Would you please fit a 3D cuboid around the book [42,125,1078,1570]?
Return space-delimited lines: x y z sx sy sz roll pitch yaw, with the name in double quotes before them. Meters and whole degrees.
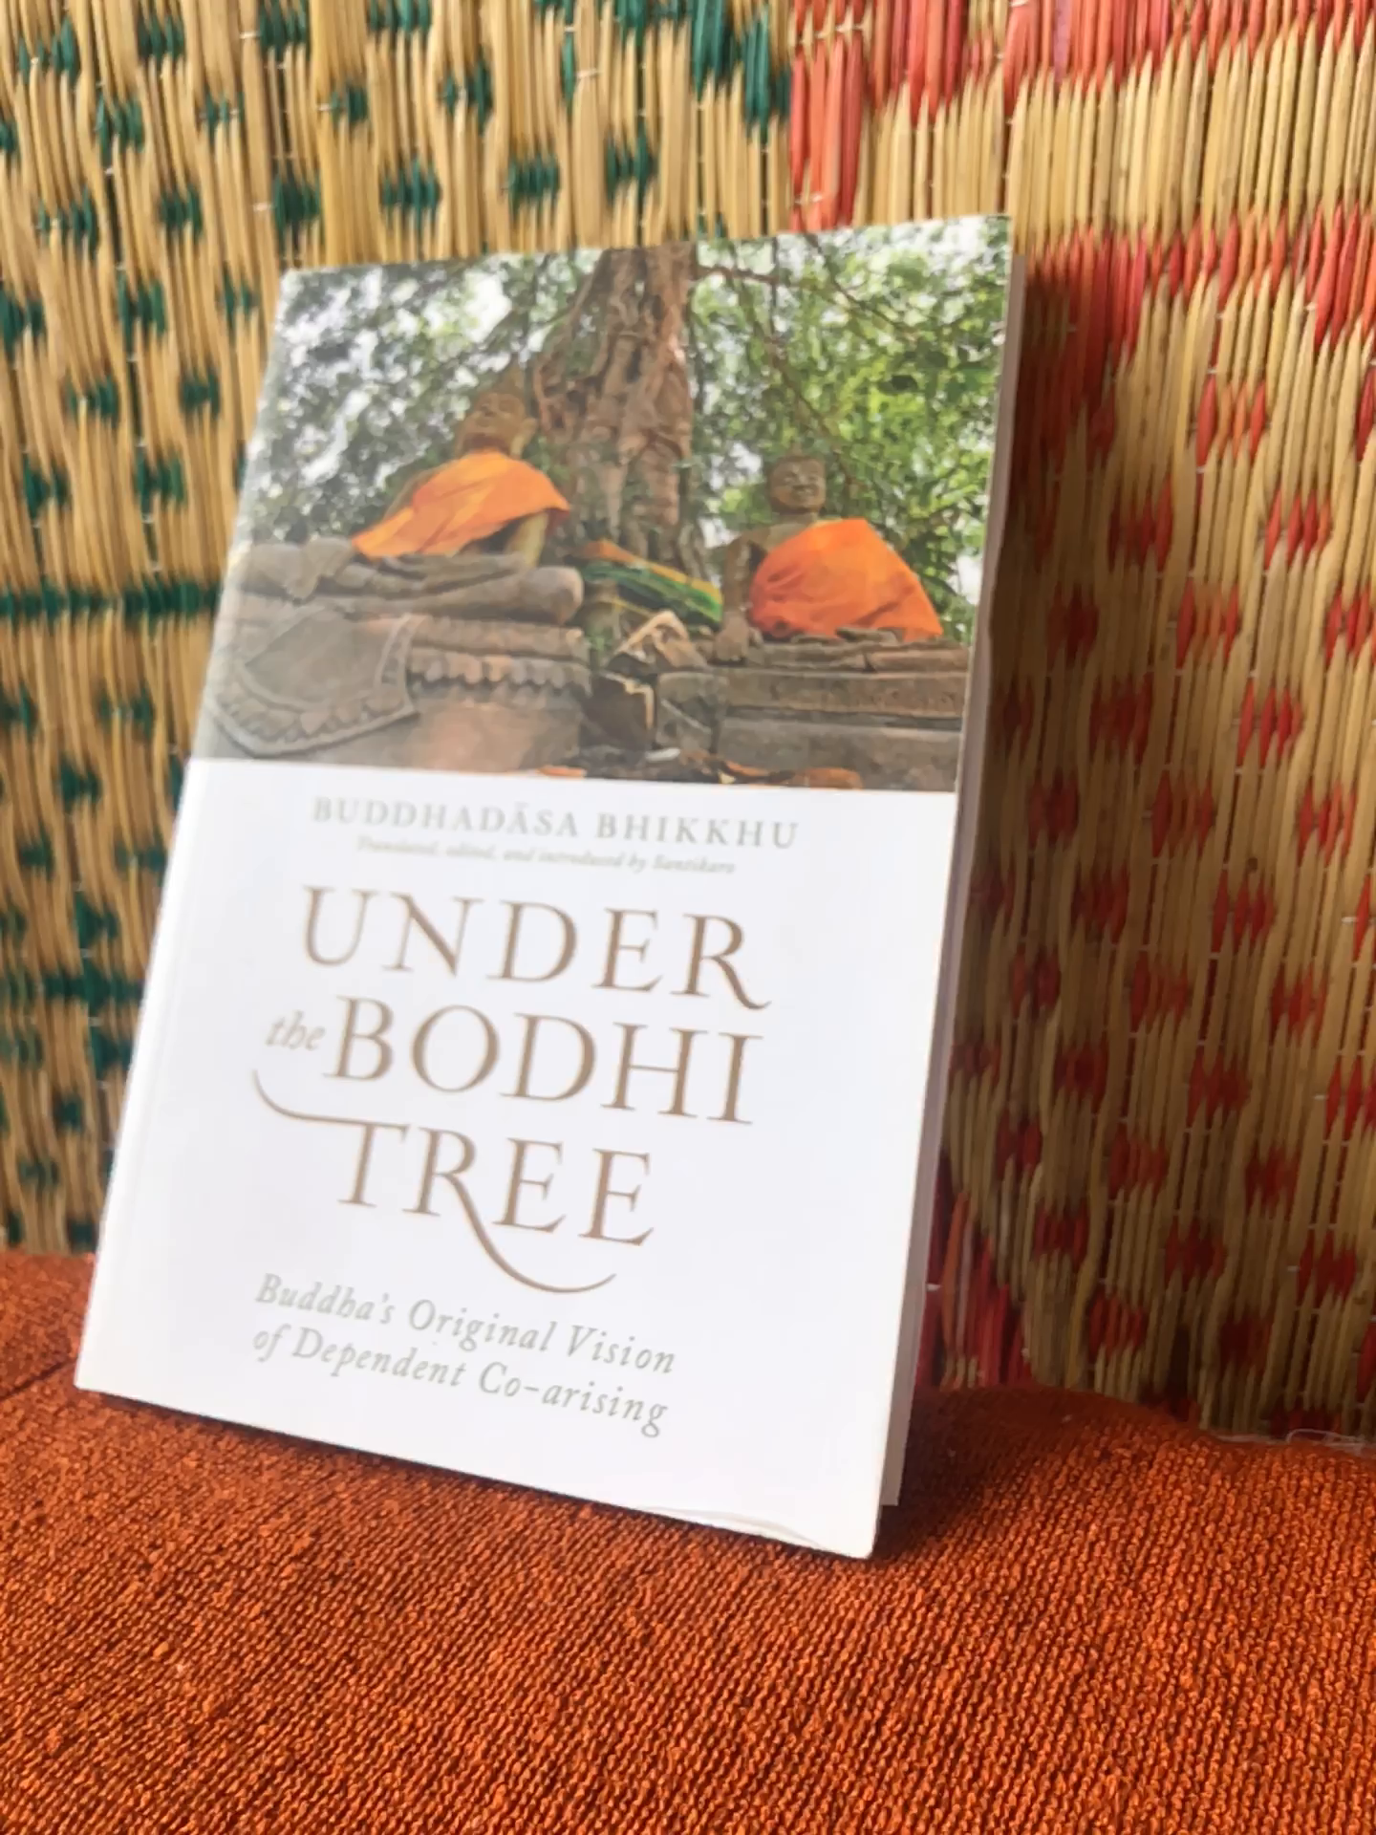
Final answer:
"book" -0.021 -0.022 0.281 0.160 0.230 0.030 4 -9 19
